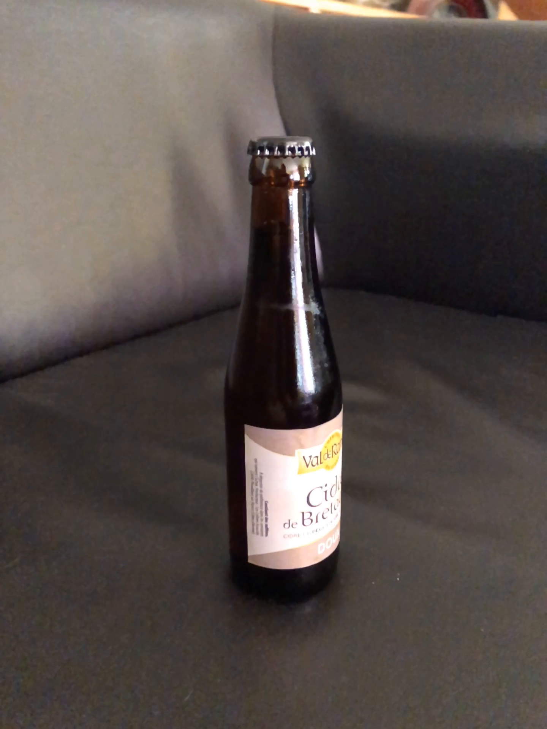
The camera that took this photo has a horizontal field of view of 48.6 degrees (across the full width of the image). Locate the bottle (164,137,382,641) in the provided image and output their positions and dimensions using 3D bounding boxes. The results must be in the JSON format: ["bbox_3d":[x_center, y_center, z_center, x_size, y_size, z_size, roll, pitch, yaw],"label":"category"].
[{"bbox_3d":[0.003,0.010,0.273,0.060,0.209,0.060,-2,21,1],"label":"bottle"}]
